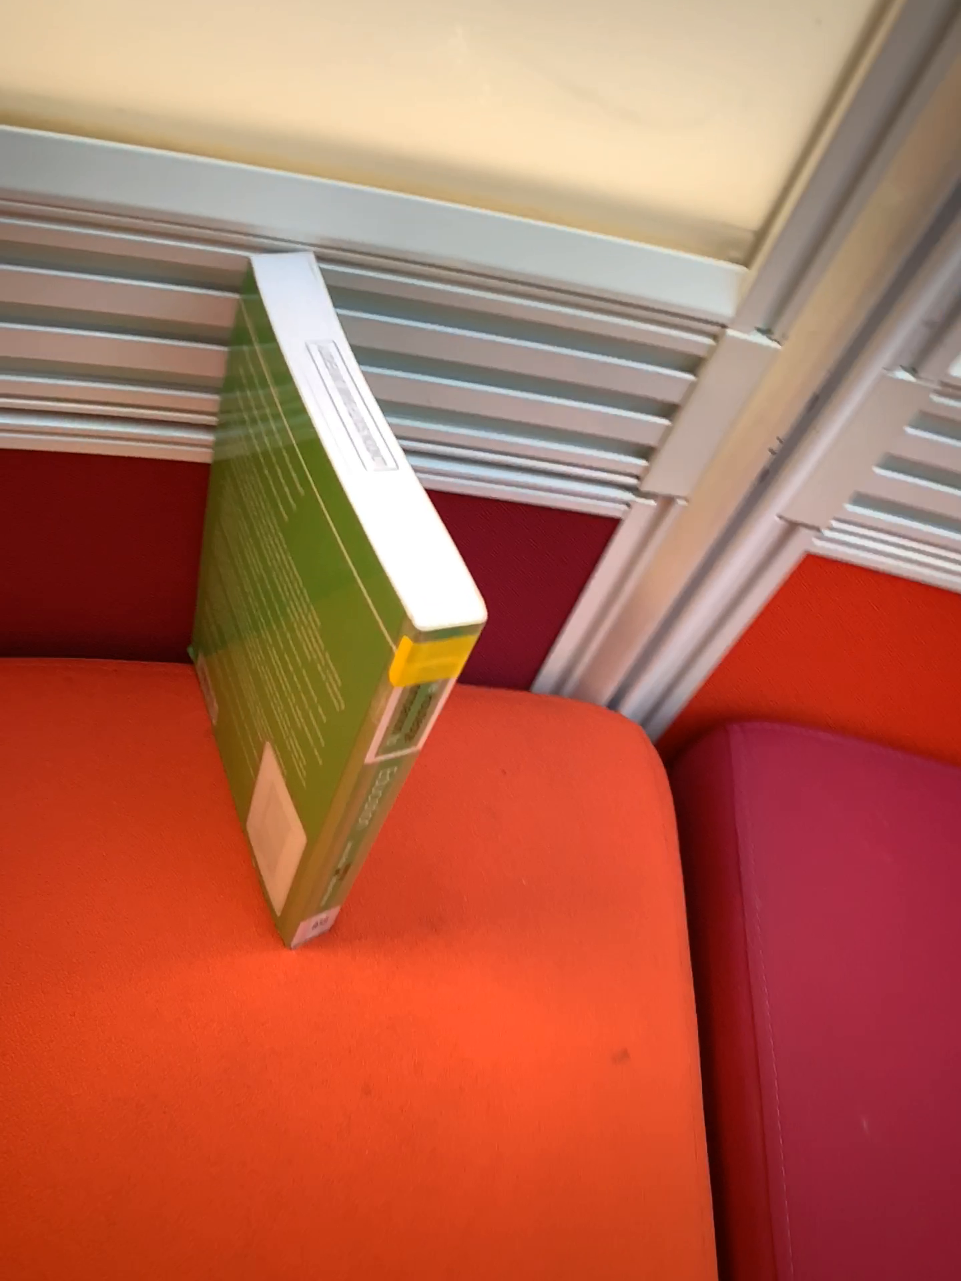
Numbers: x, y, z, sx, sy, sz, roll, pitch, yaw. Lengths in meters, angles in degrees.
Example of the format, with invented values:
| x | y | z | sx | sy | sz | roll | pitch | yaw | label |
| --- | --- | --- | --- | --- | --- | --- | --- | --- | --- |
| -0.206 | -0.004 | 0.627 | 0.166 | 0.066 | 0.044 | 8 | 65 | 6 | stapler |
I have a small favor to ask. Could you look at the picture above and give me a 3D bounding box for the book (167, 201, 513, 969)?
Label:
| x | y | z | sx | sy | sz | roll | pitch | yaw | label |
| --- | --- | --- | --- | --- | --- | --- | --- | --- | --- |
| -0.085 | -0.006 | 0.425 | 0.040 | 0.268 | 0.201 | -8 | 57 | -27 | book |
